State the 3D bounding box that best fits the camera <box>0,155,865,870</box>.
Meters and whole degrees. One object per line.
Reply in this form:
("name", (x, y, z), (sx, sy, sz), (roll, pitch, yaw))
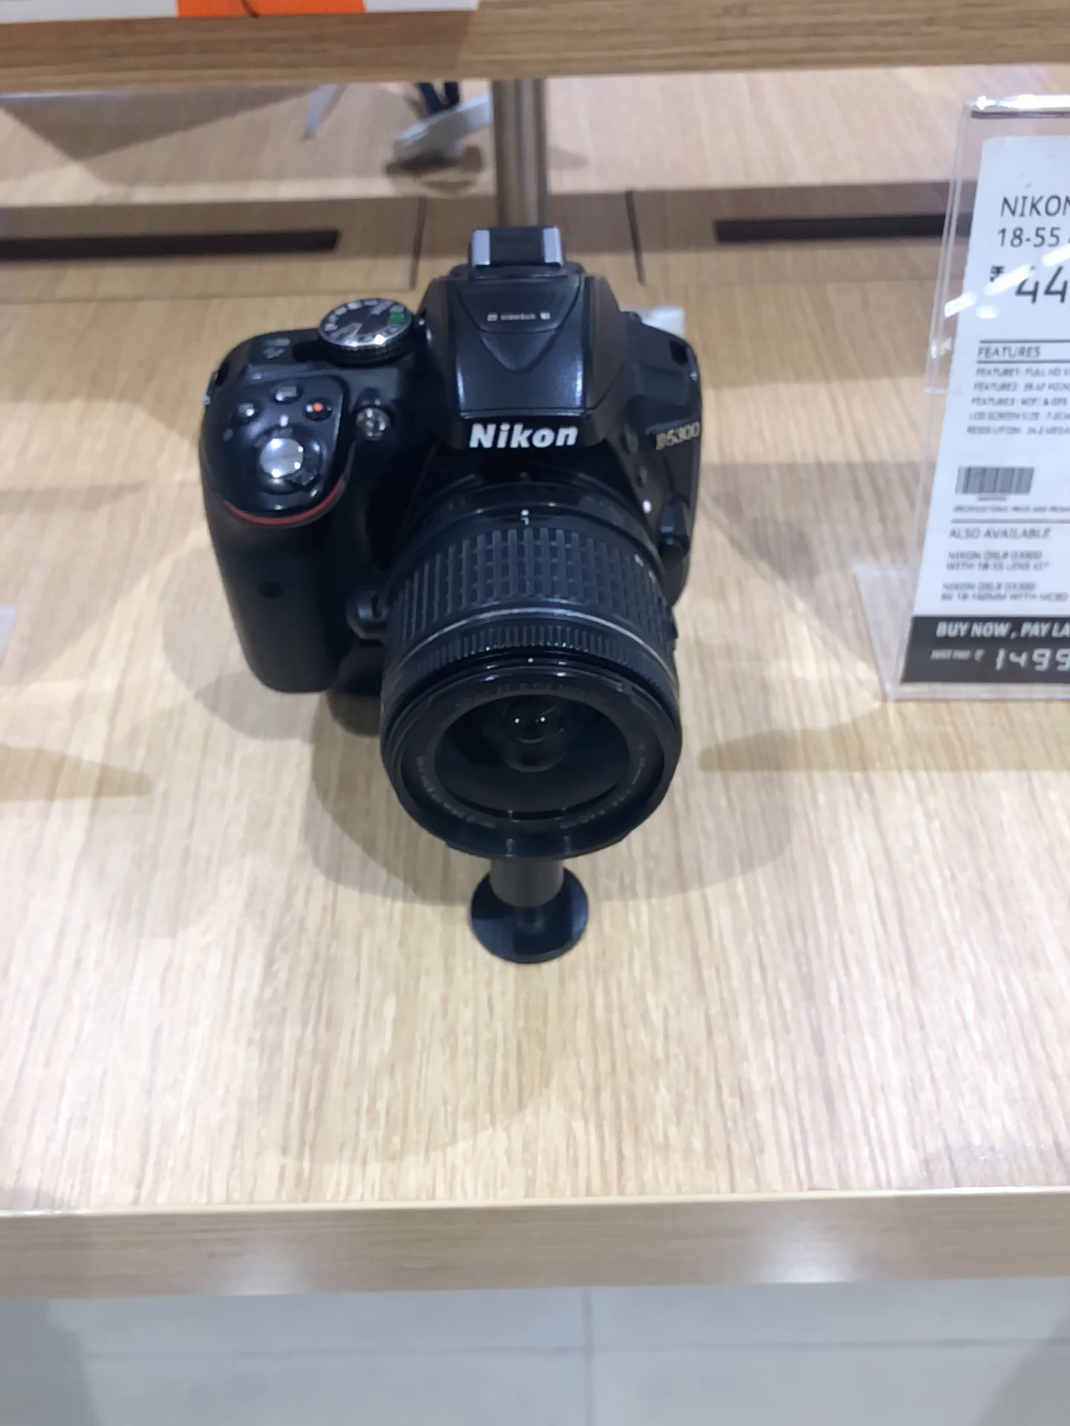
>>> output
("camera", (-0.016, -0.050, 0.256), (0.130, 0.070, 0.151), (-2, 47, 0))
